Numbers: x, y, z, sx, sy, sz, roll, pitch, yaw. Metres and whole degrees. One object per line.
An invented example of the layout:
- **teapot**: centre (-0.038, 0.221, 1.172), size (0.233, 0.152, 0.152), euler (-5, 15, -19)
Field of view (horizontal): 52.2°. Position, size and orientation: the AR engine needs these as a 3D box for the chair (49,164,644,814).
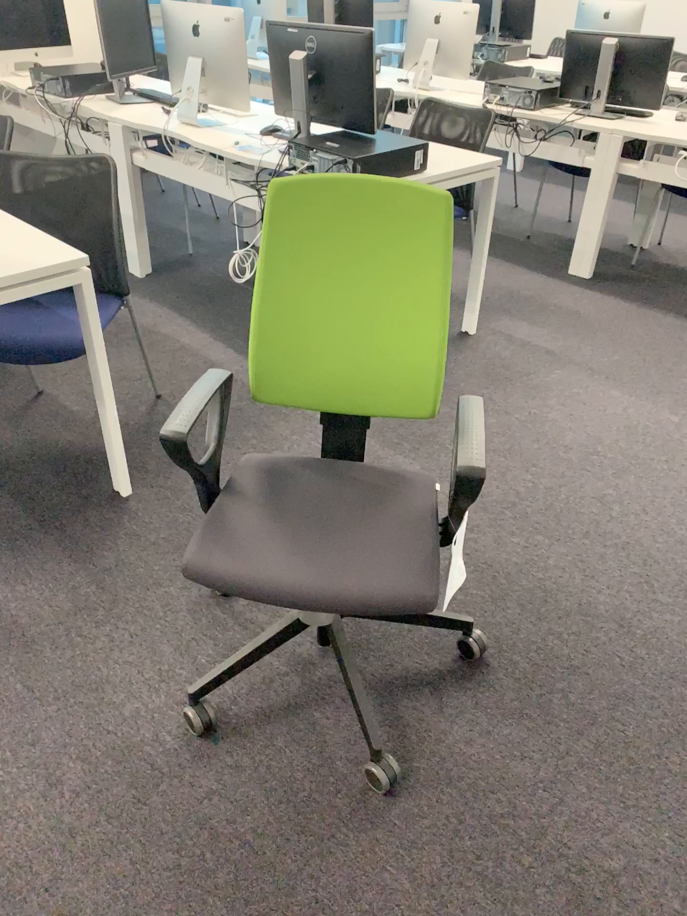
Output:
- **chair**: centre (0.011, 0.065, 1.420), size (0.720, 1.054, 0.674), euler (6, 35, 4)
